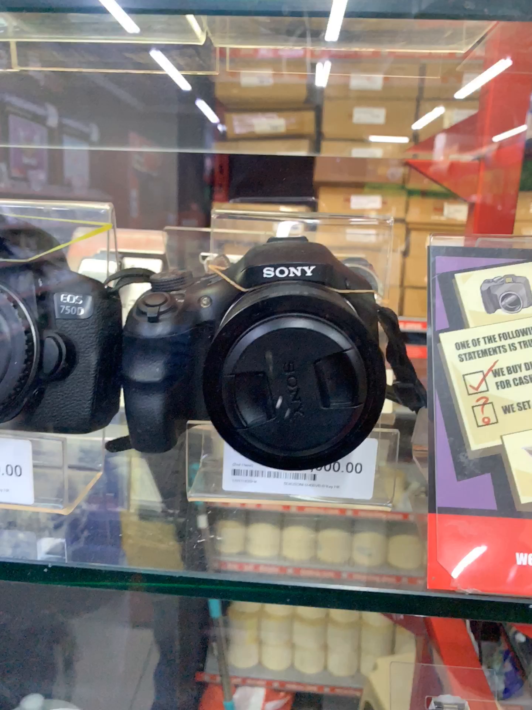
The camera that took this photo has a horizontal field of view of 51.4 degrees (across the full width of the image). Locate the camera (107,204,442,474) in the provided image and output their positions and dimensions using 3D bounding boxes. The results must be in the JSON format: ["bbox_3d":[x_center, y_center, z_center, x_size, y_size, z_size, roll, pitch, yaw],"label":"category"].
[{"bbox_3d":[0.001,-0.014,0.253,0.120,0.100,0.090,2,13,-1],"label":"camera"}]
